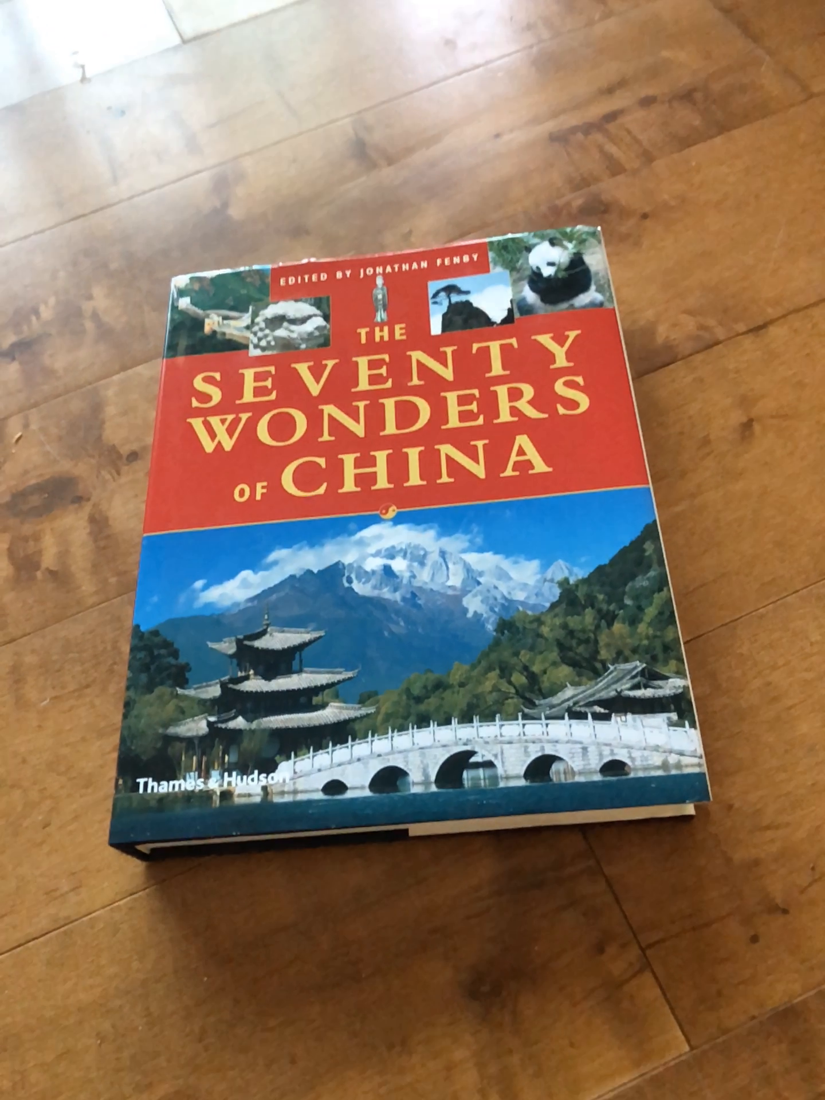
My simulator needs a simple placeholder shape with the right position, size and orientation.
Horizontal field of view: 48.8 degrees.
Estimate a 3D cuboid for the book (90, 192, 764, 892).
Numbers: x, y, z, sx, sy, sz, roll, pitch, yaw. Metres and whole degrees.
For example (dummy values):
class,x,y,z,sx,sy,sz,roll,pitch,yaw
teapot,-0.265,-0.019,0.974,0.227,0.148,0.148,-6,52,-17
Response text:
class,x,y,z,sx,sy,sz,roll,pitch,yaw
book,-0.003,-0.019,0.387,0.220,0.050,0.291,-6,61,4
